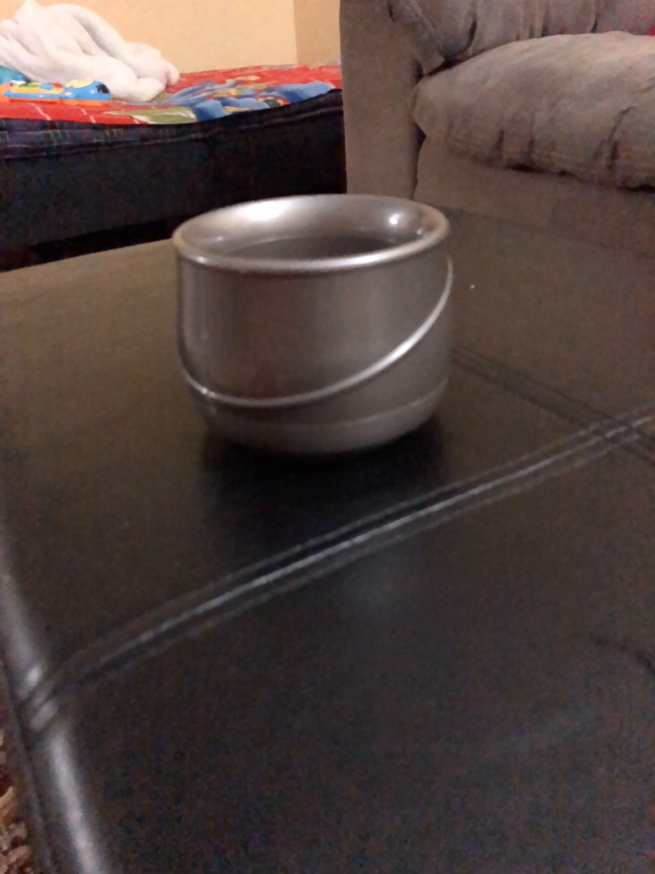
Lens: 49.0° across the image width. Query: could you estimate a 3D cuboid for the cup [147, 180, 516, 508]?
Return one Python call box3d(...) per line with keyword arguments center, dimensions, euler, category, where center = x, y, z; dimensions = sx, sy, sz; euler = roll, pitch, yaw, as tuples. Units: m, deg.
box3d(center=(-0.004, -0.036, 0.231), dimensions=(0.090, 0.066, 0.084), euler=(-3, 30, 1), category="cup")
